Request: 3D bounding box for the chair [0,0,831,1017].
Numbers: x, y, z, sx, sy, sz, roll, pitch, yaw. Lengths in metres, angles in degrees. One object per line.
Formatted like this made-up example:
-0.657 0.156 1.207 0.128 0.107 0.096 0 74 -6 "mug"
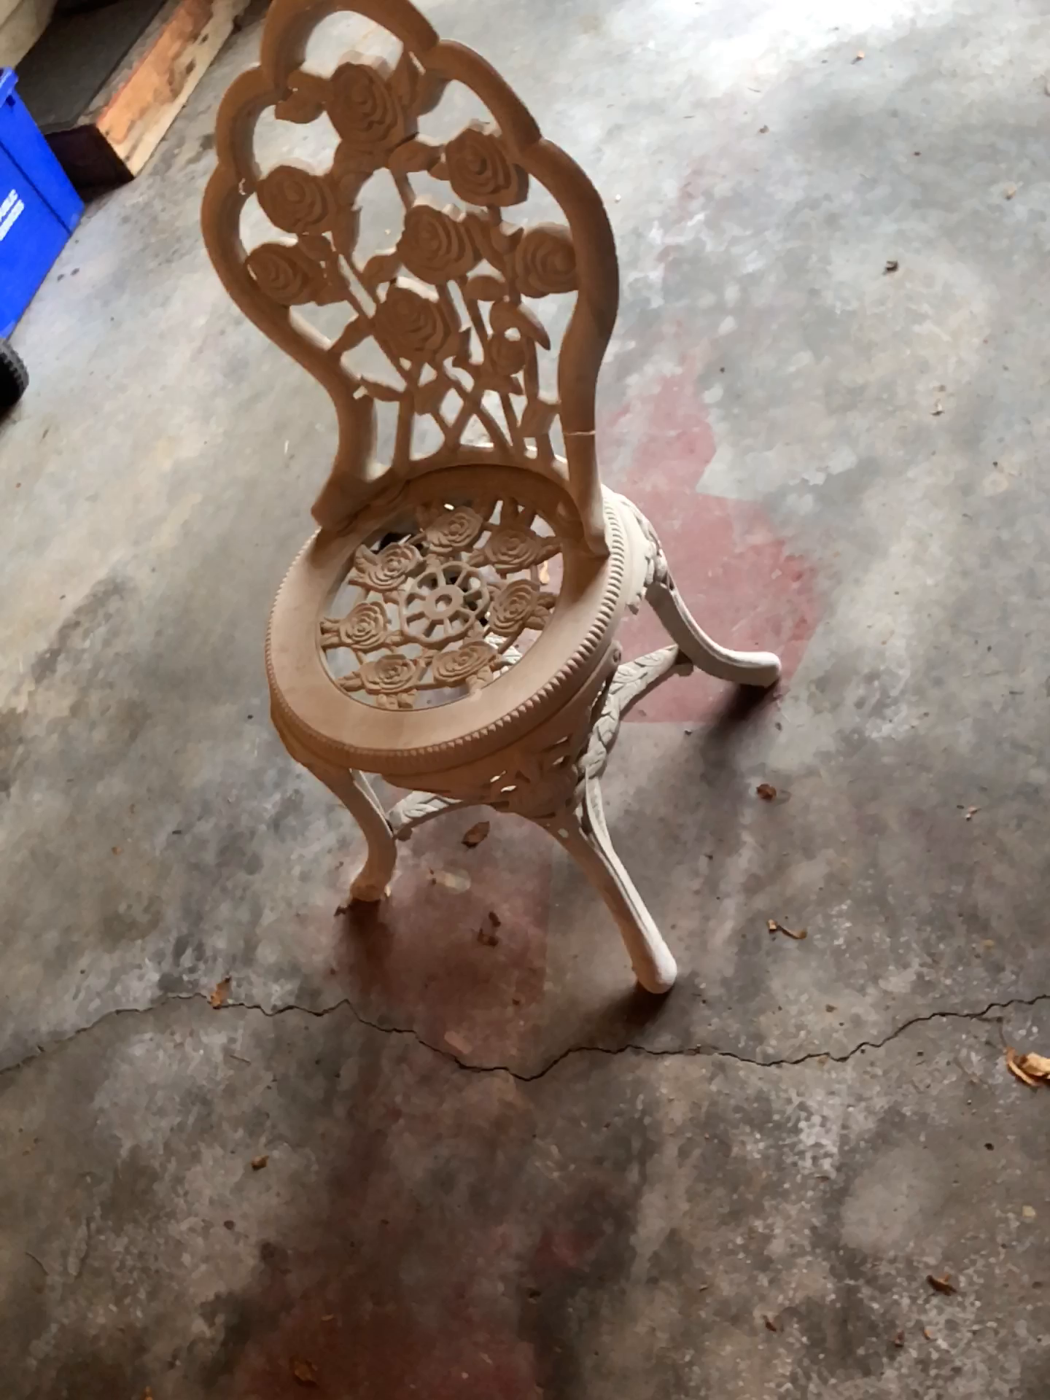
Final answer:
-0.076 -0.135 1.124 0.492 0.898 0.500 9 63 29 "chair"
